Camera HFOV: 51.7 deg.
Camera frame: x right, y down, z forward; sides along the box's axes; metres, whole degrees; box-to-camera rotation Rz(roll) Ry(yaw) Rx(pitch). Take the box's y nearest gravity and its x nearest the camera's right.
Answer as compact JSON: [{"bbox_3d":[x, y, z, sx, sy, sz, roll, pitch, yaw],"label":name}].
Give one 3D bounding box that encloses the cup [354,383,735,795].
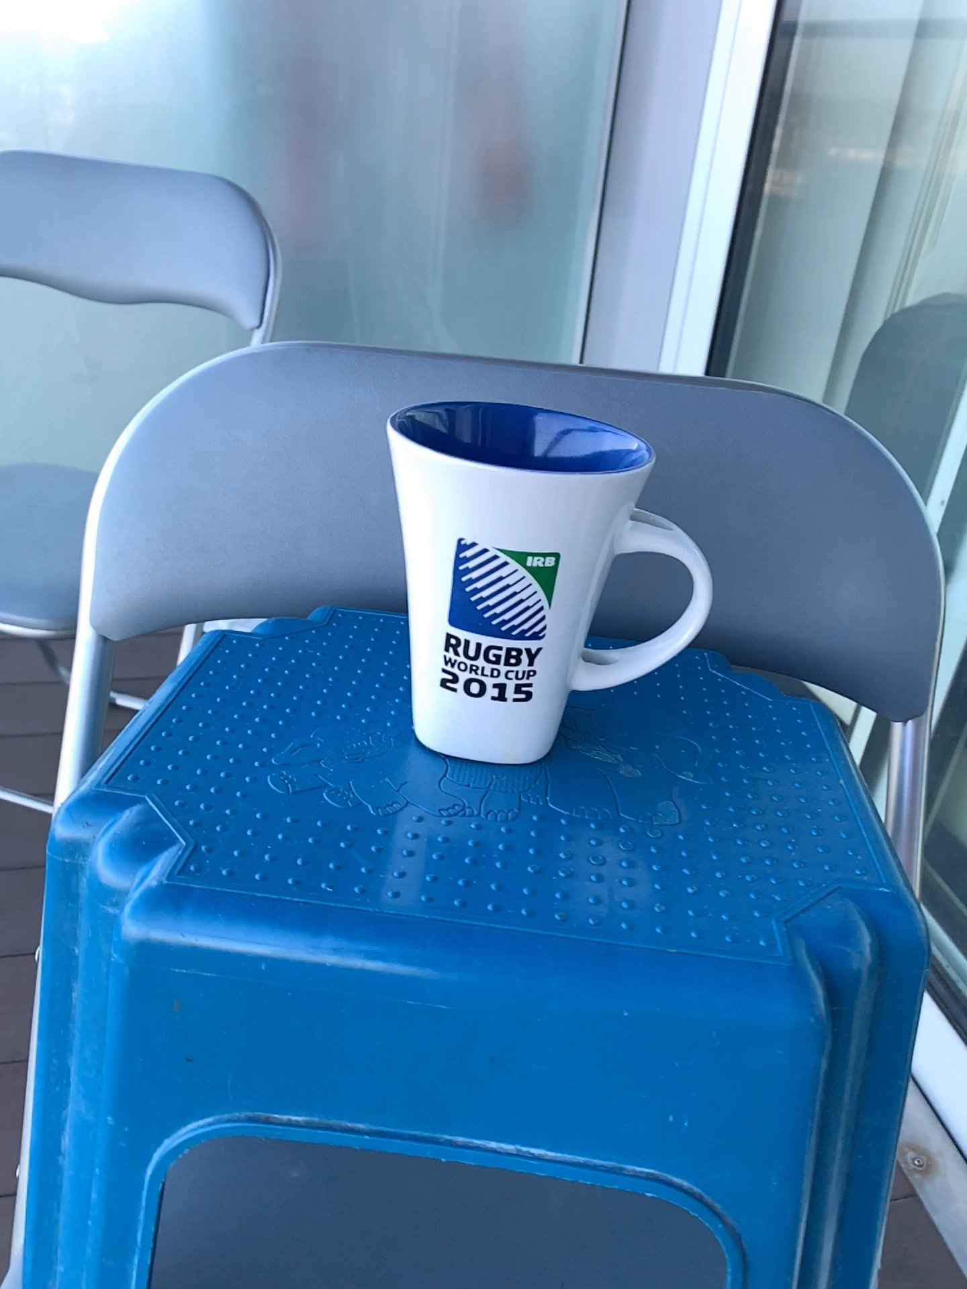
[{"bbox_3d":[0.018,-0.022,0.347,0.107,0.105,0.083,7,28,2],"label":"cup"}]
